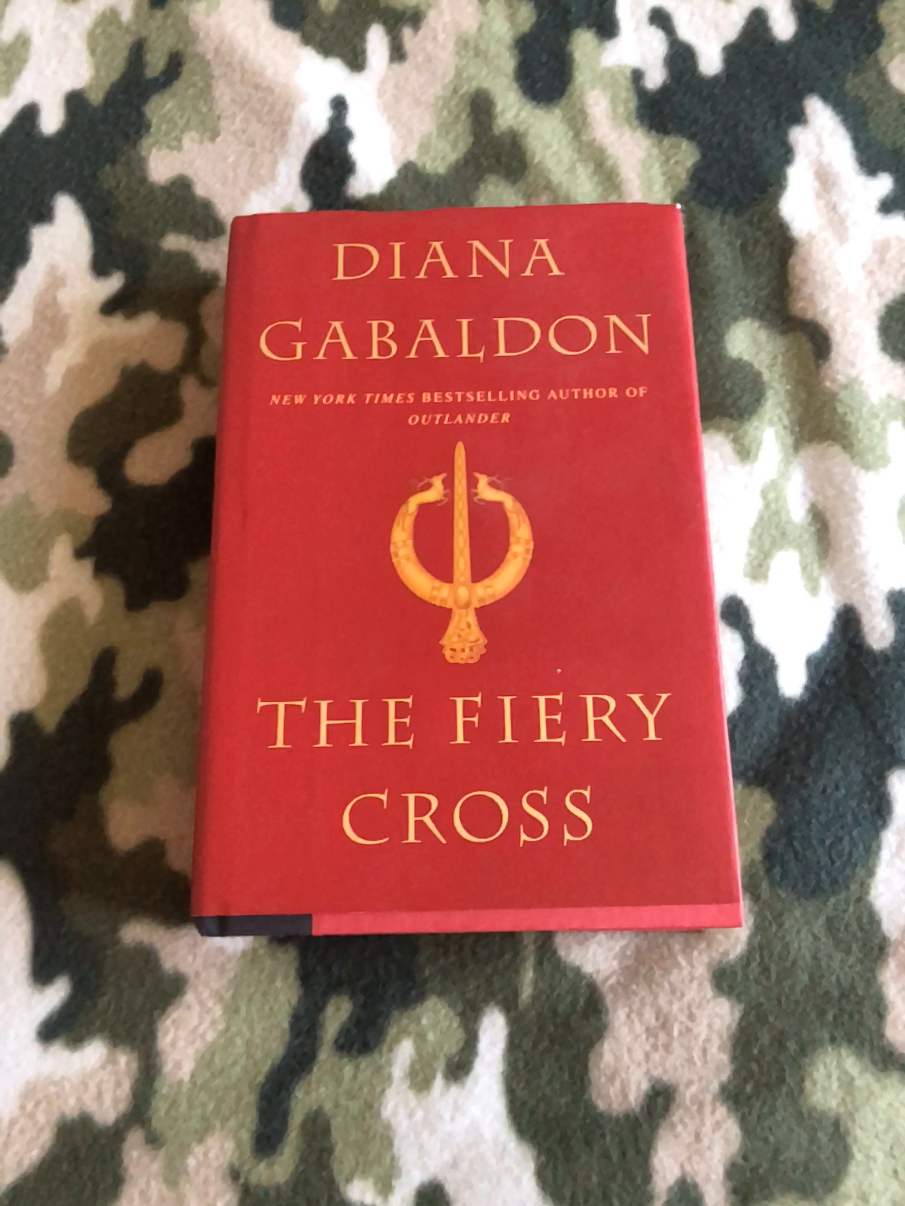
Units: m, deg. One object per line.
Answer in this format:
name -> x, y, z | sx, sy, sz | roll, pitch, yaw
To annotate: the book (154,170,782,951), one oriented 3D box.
book -> 0.002, -0.018, 0.339 | 0.170, 0.070, 0.250 | -1, 74, -1
